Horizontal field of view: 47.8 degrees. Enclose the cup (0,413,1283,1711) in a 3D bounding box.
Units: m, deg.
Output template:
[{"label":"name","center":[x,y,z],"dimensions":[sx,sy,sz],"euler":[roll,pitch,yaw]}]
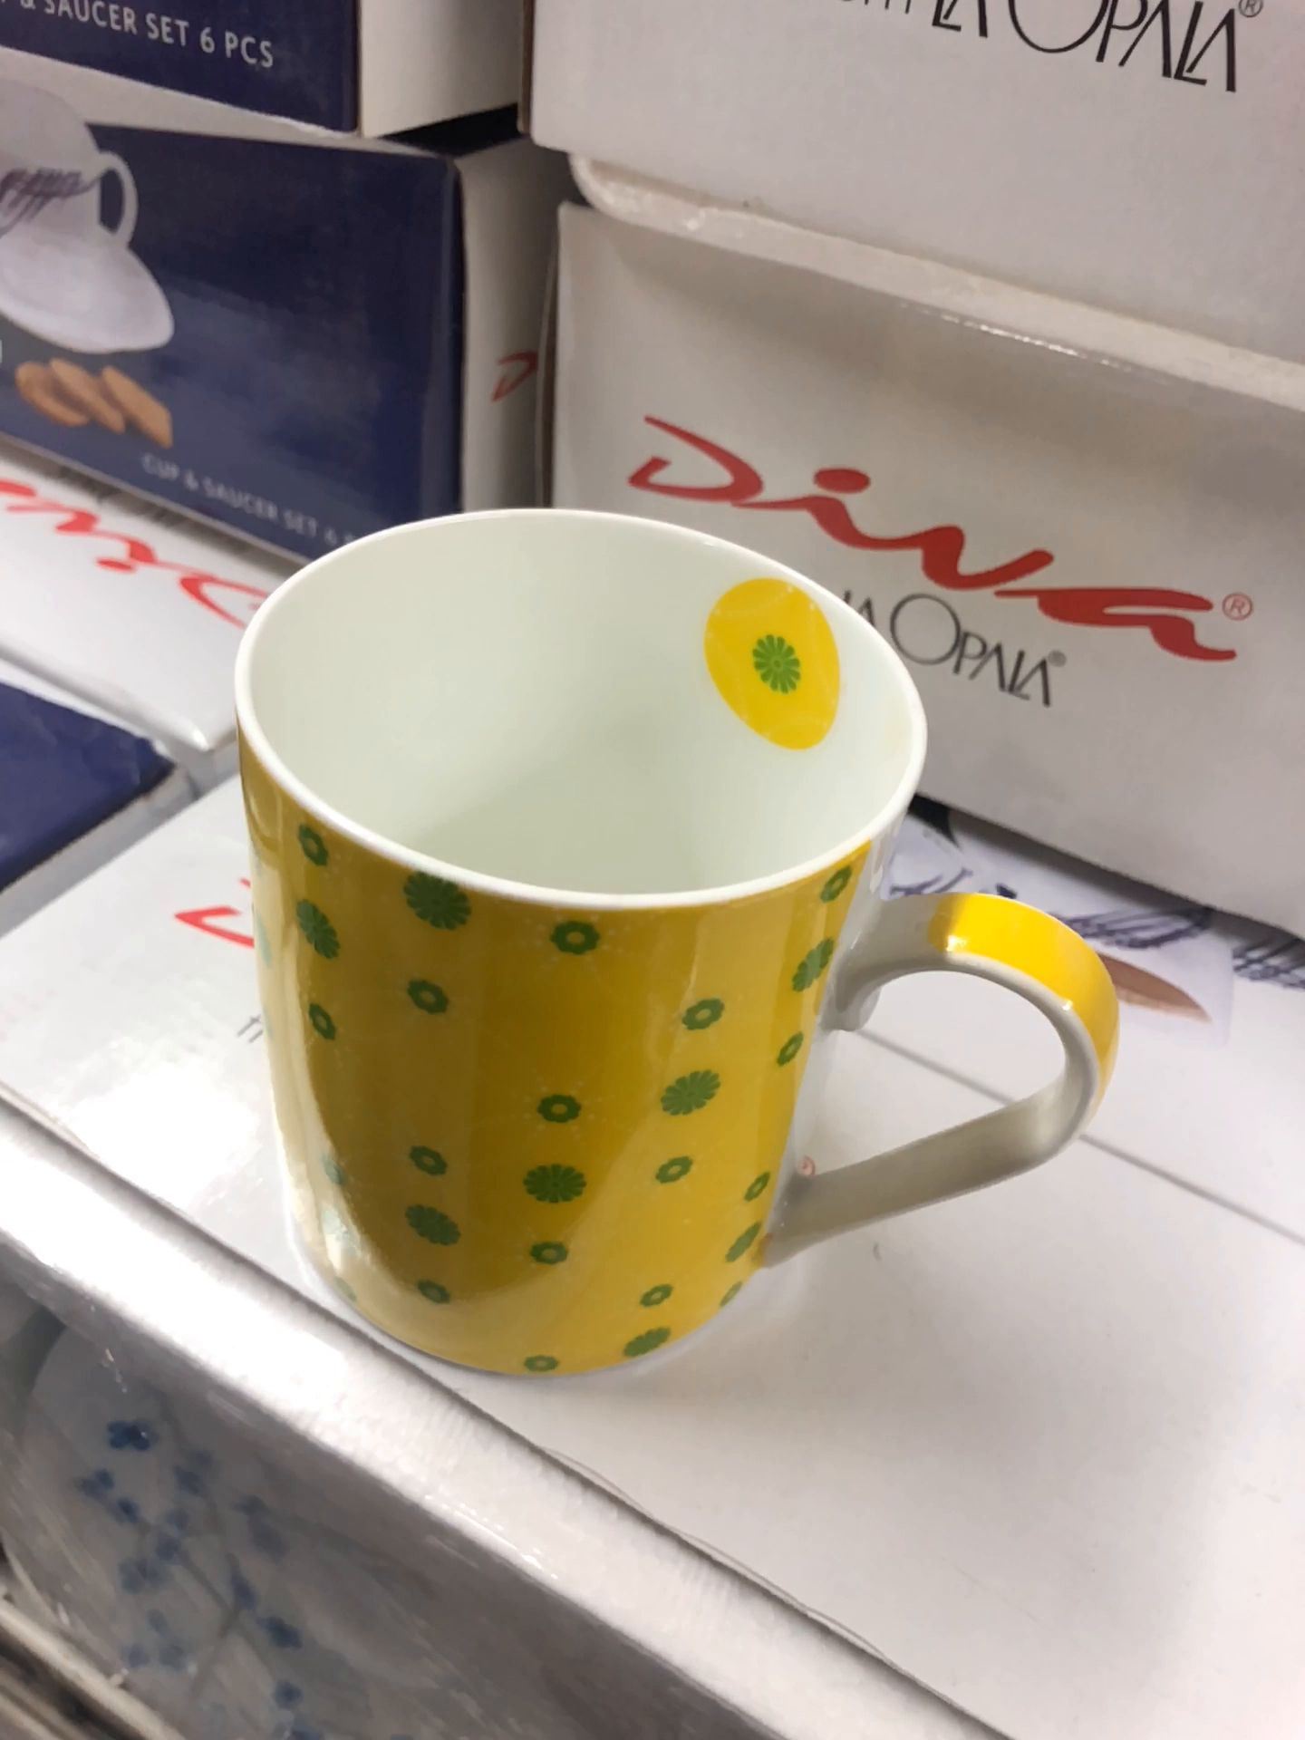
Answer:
[{"label":"cup","center":[-0.001,0.015,0.154],"dimensions":[0.090,0.079,0.070],"euler":[24,45,18]}]
